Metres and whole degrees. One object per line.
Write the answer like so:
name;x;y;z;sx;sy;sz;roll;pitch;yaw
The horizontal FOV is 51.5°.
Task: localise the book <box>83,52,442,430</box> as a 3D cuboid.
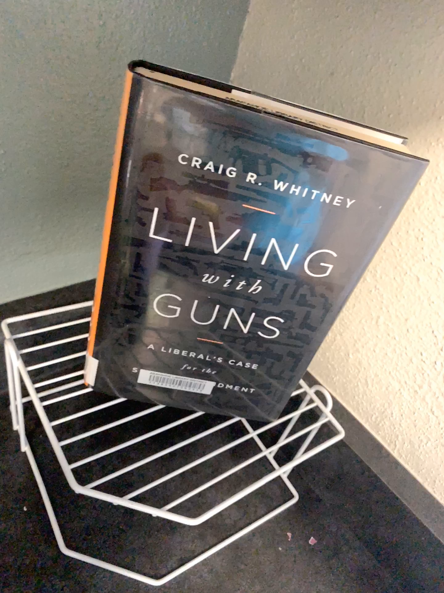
book;0.006;-0.014;0.310;0.171;0.229;0.040;12;34;-7
